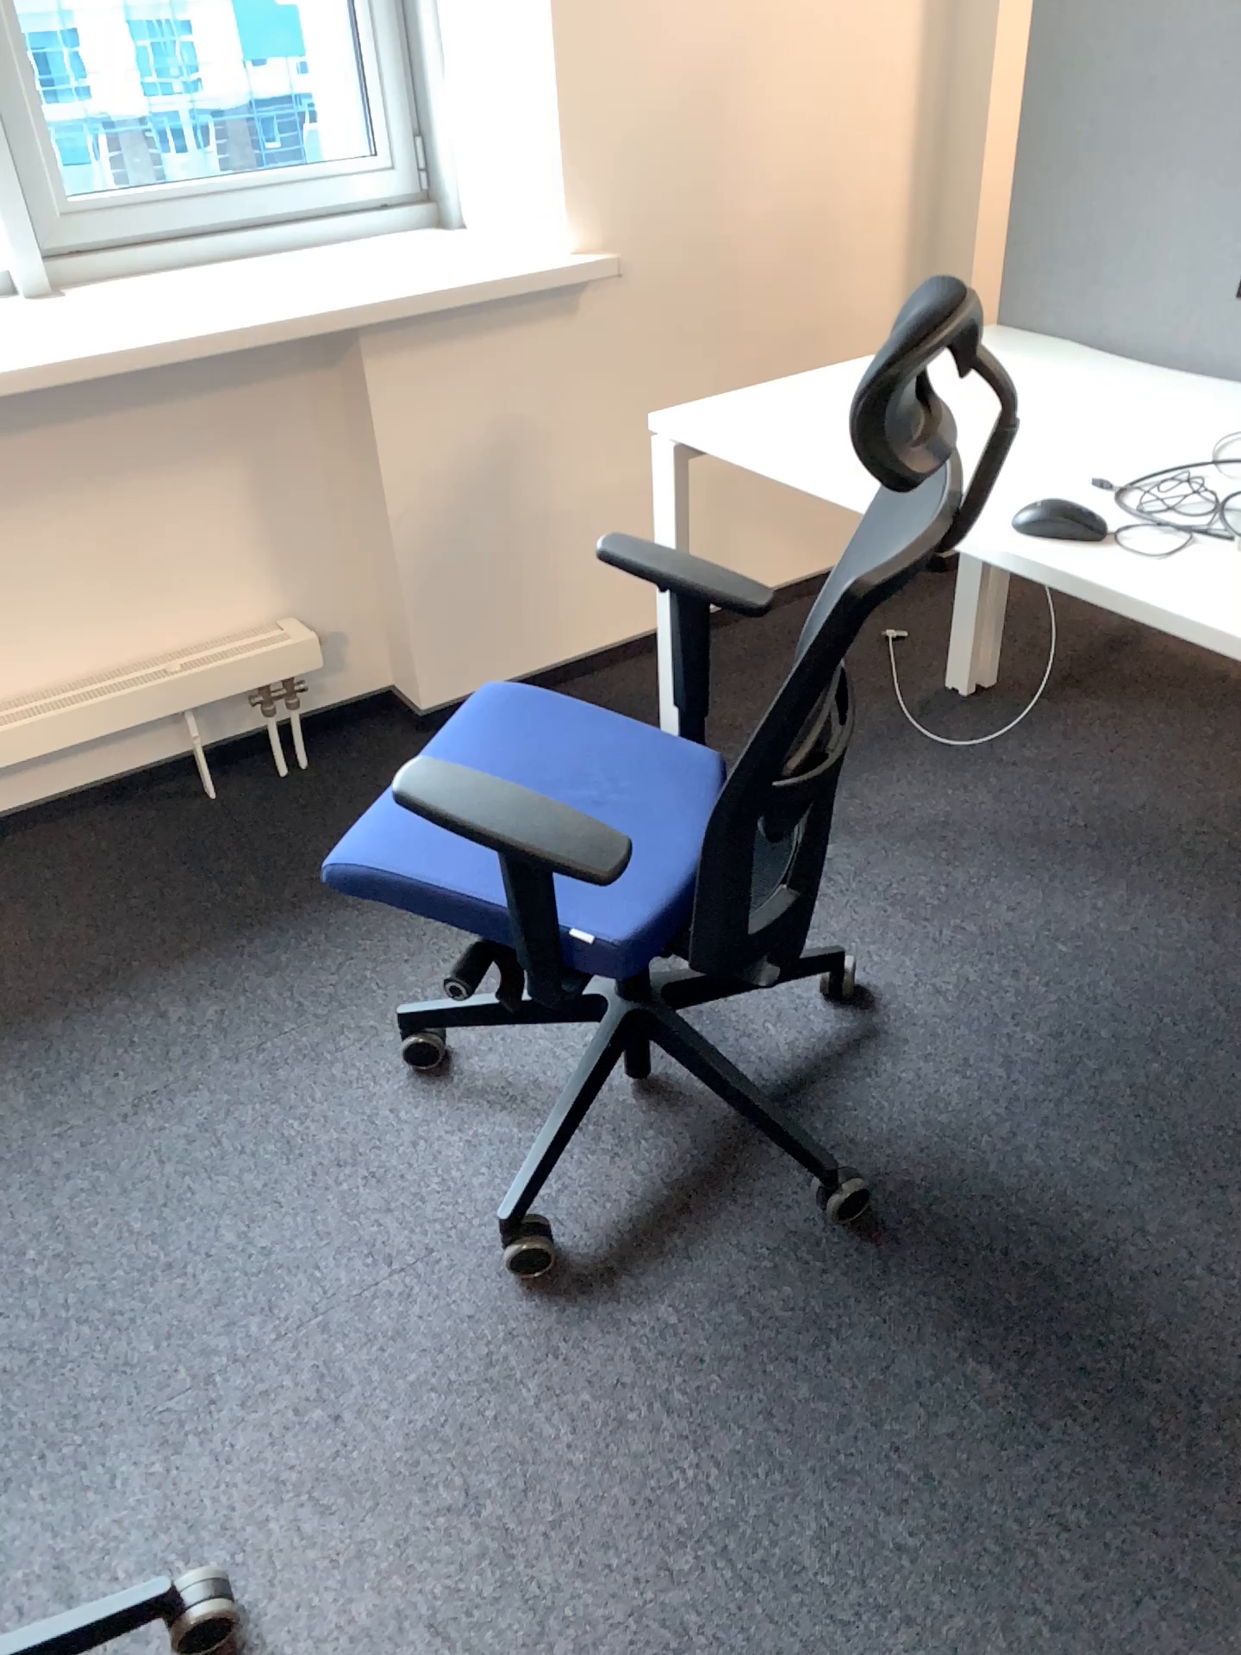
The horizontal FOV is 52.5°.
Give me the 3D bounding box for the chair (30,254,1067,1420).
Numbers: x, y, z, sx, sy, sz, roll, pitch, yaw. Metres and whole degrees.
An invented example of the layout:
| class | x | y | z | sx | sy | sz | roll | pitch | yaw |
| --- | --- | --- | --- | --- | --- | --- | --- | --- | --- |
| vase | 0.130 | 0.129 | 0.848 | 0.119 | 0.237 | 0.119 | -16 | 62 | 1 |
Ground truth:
| class | x | y | z | sx | sy | sz | roll | pitch | yaw |
| --- | --- | --- | --- | --- | --- | --- | --- | --- | --- |
| chair | 0.012 | -0.050 | 1.557 | 0.791 | 1.074 | 0.754 | 11 | 36 | 21 |
